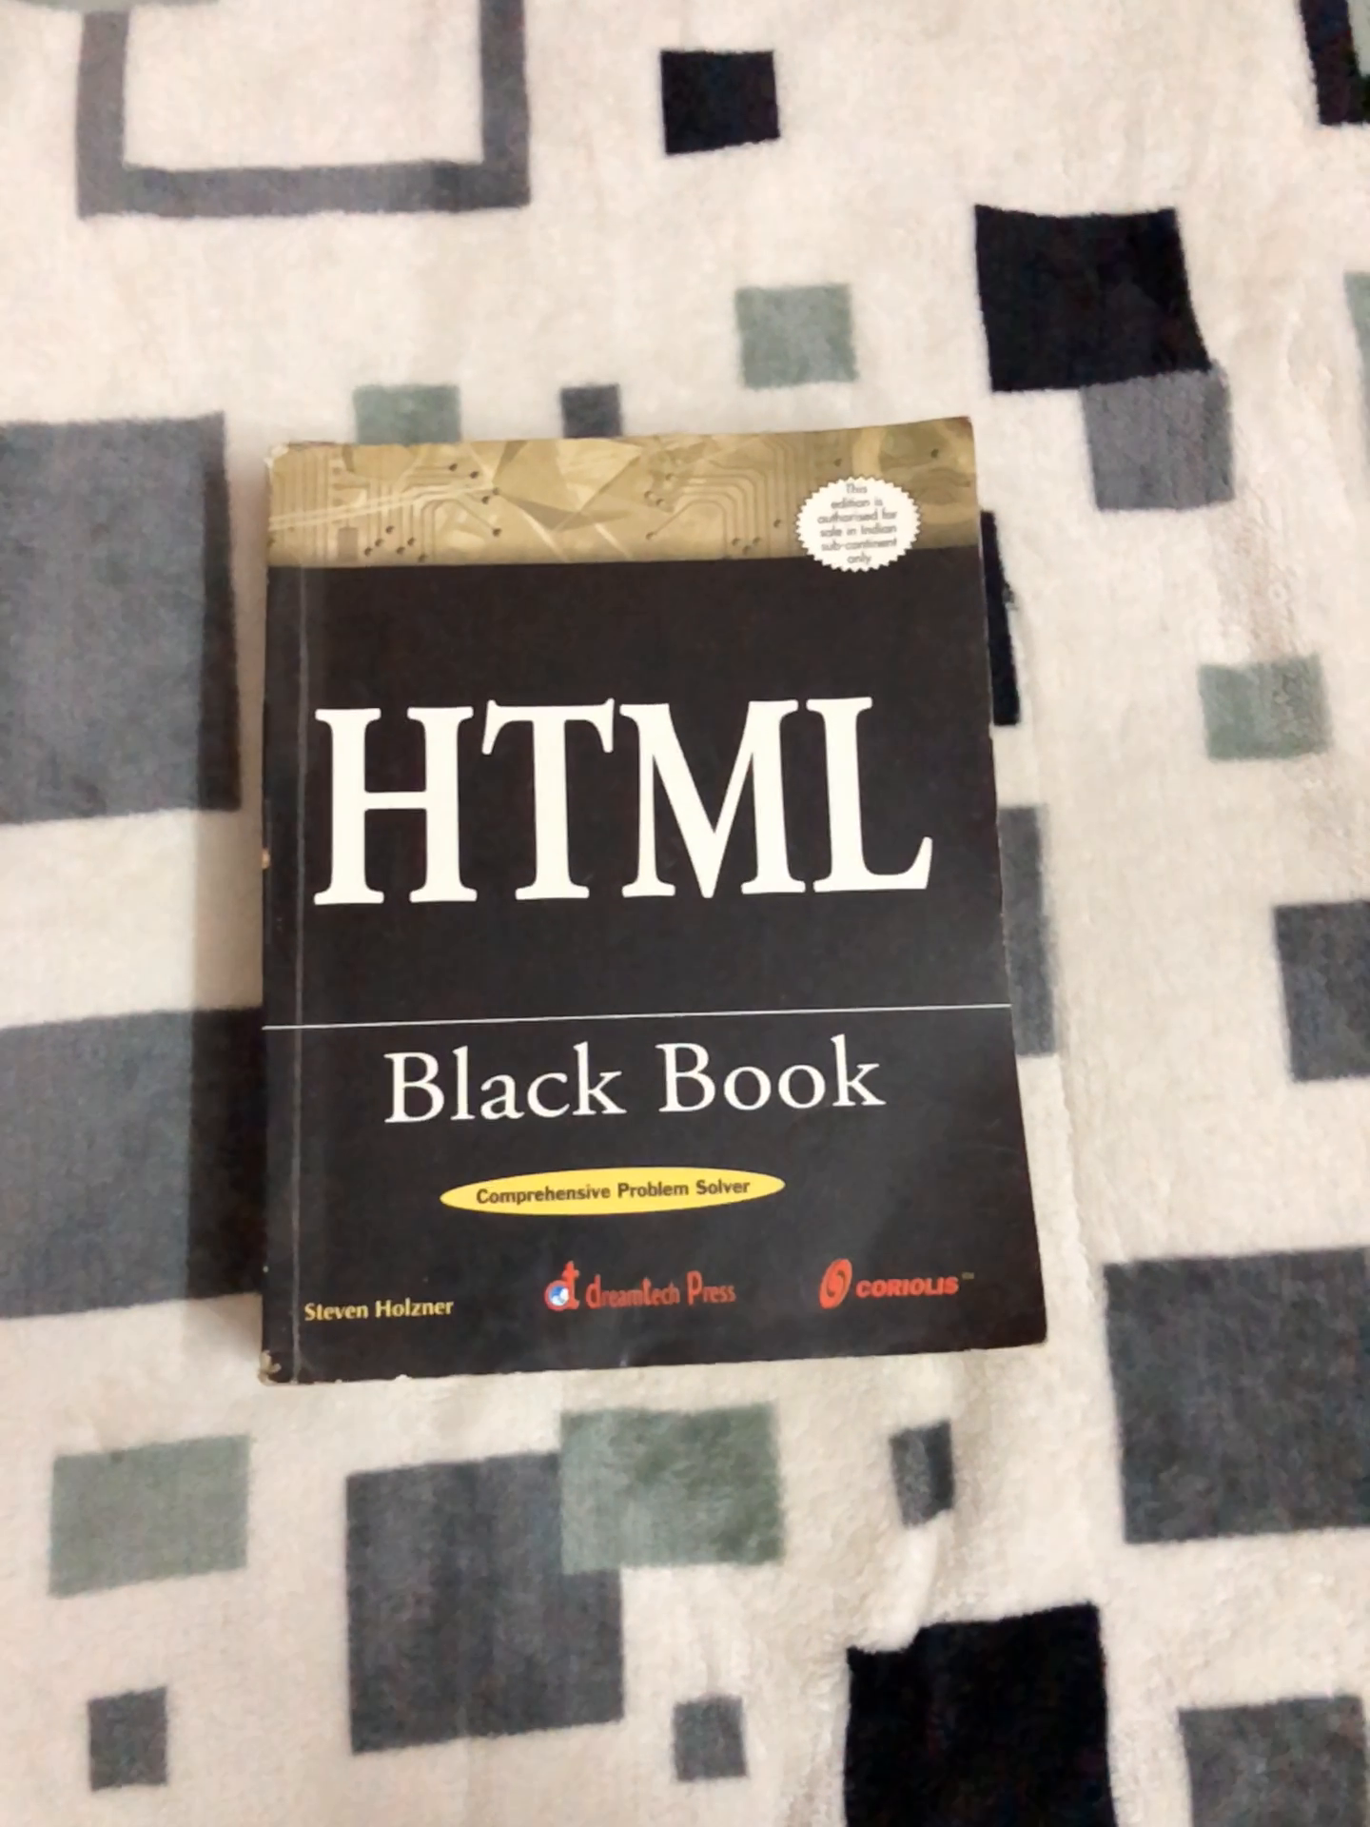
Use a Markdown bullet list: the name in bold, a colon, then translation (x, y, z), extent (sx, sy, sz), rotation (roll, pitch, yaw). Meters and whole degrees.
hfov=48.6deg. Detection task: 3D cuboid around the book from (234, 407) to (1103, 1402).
- **book**: translation (-0.010, -0.004, 0.390), extent (0.190, 0.070, 0.230), rotation (-3, 78, -2)
